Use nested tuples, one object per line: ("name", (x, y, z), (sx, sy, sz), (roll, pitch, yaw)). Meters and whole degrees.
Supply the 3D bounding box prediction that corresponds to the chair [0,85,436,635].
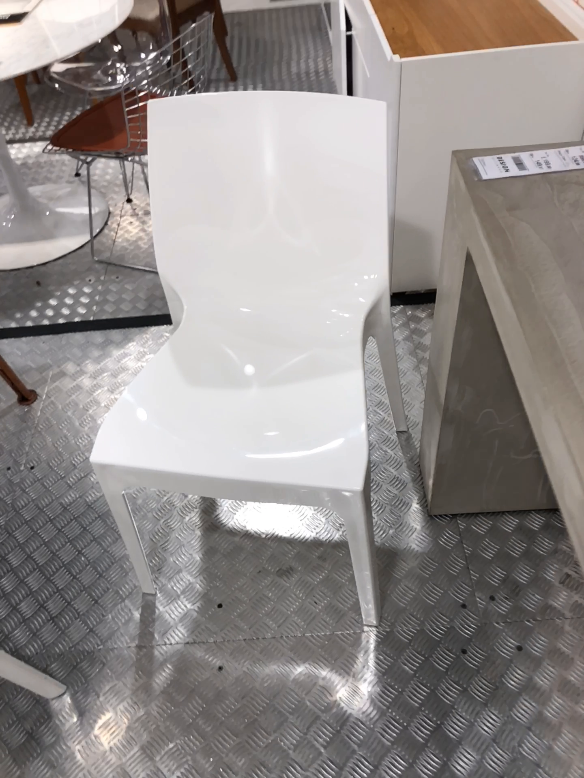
("chair", (-0.055, -0.030, 1.128), (0.520, 0.765, 0.543), (5, 48, 11))
